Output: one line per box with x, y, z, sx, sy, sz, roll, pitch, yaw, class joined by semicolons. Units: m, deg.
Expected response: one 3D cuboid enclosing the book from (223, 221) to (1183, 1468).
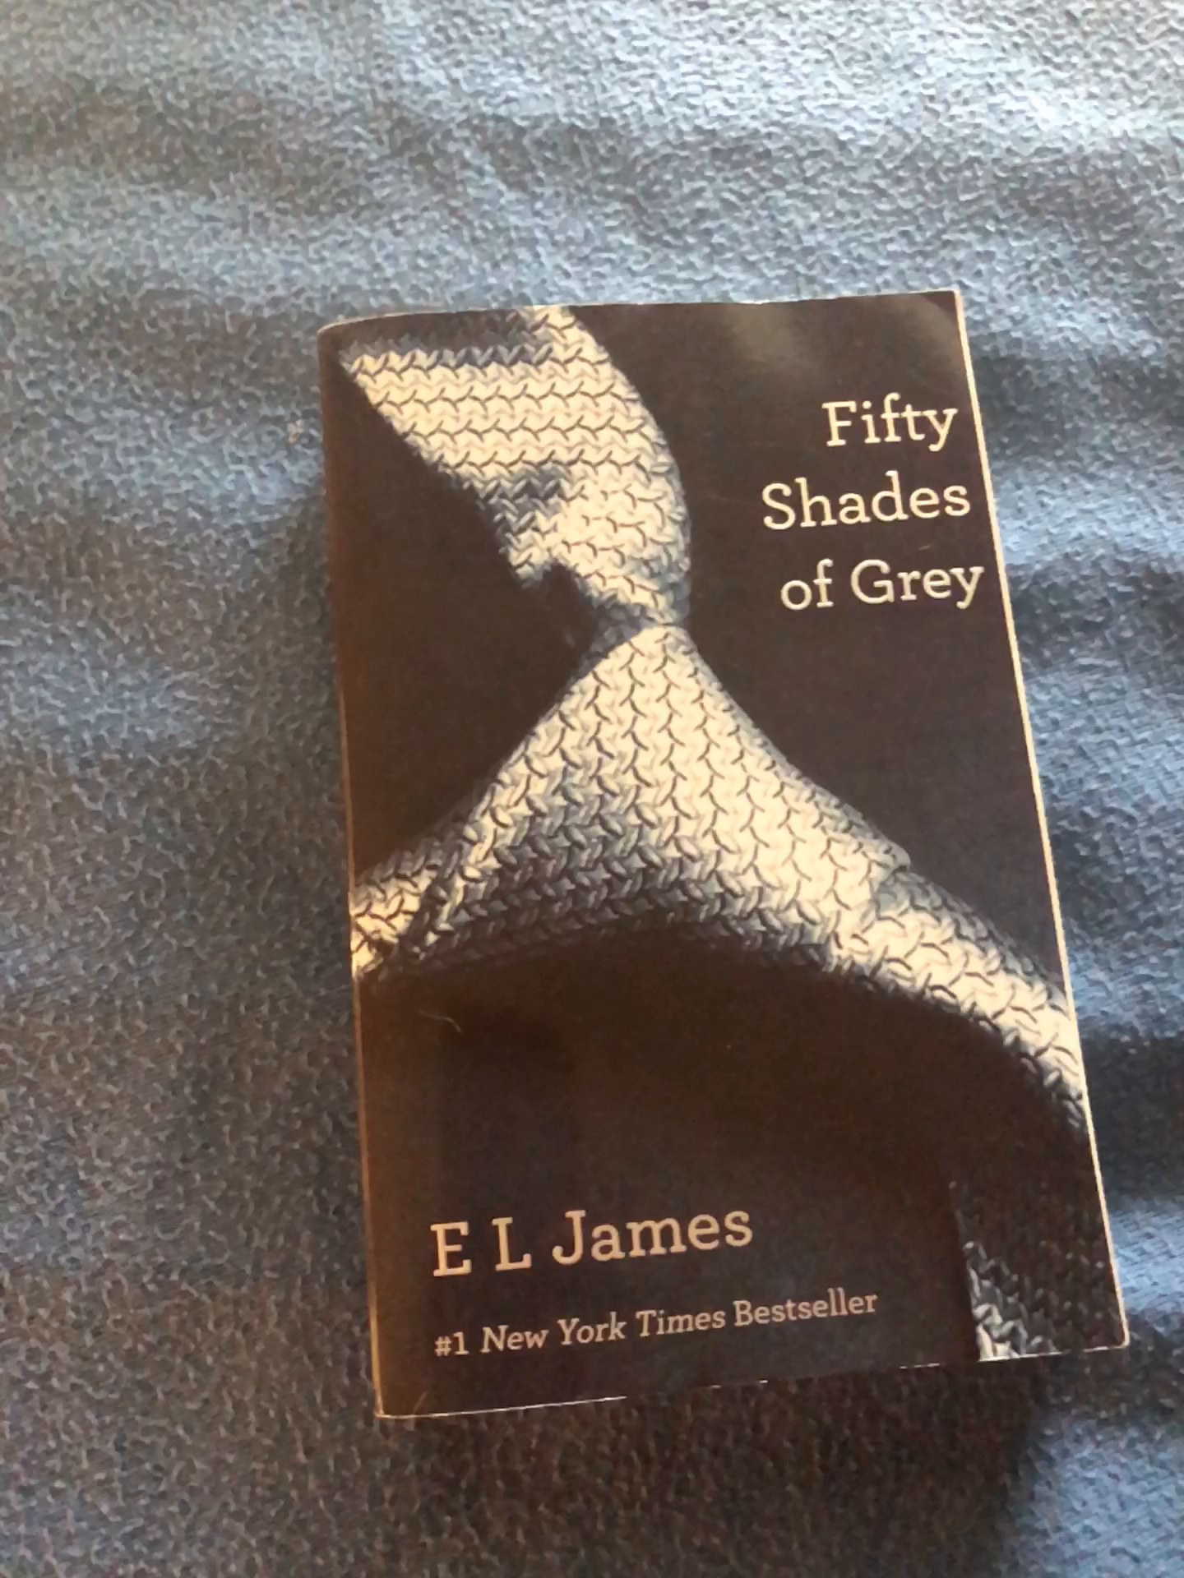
0.013;0.002;0.250;0.150;0.040;0.210;-5;77;-2;book
